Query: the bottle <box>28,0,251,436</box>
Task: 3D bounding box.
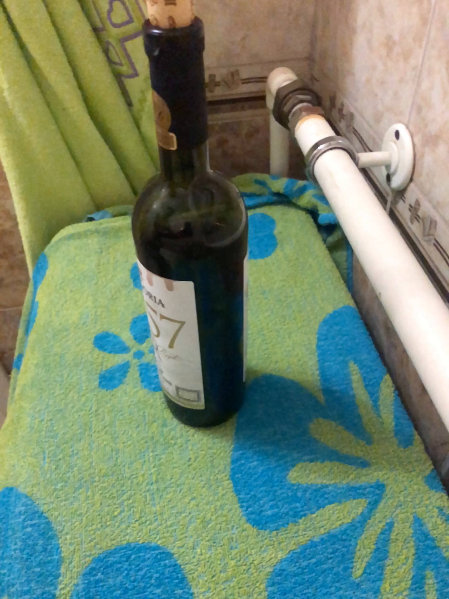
[{"bbox_3d":[-0.028,-0.034,0.325,0.080,0.318,0.080,-2,44,2],"label":"bottle"}]
